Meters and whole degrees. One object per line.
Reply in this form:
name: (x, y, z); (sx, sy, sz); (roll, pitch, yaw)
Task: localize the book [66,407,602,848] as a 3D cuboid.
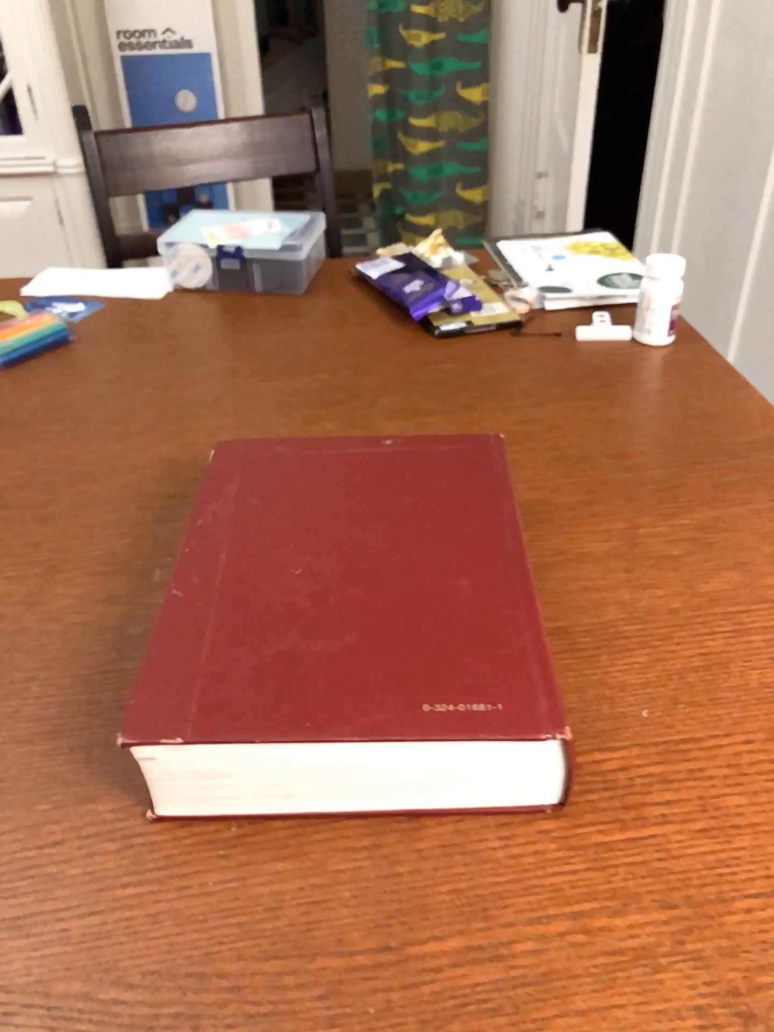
book: (-0.021, 0.038, 0.493); (0.220, 0.070, 0.292); (-1, 35, 1)
